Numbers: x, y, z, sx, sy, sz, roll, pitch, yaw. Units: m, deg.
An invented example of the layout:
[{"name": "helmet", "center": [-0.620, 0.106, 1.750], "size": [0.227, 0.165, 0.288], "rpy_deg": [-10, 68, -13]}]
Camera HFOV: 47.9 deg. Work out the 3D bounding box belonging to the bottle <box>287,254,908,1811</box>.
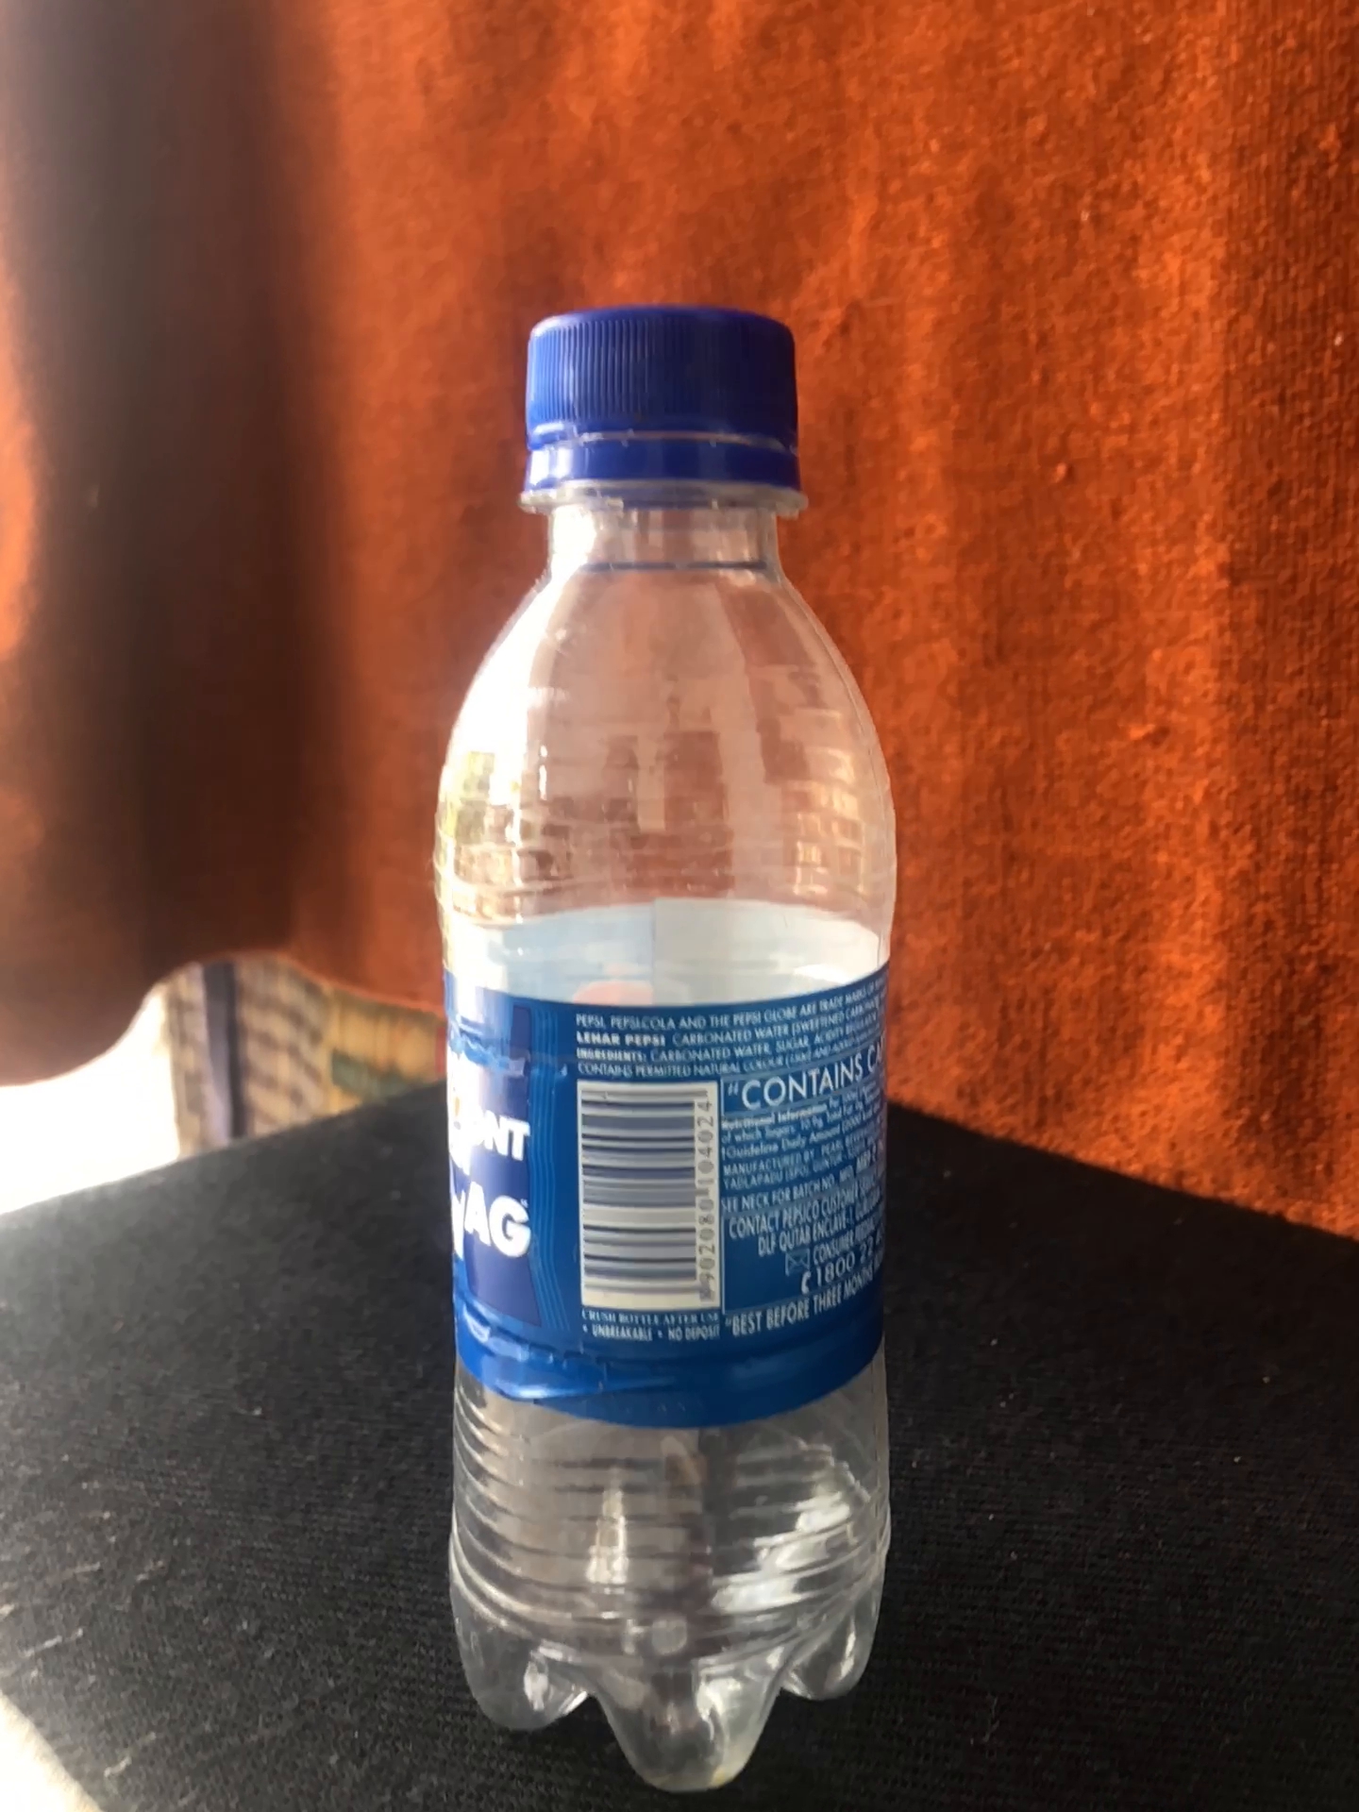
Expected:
[{"name": "bottle", "center": [-0.010, 0.020, 0.179], "size": [0.050, 0.169, 0.060], "rpy_deg": [-7, 14, -18]}]
